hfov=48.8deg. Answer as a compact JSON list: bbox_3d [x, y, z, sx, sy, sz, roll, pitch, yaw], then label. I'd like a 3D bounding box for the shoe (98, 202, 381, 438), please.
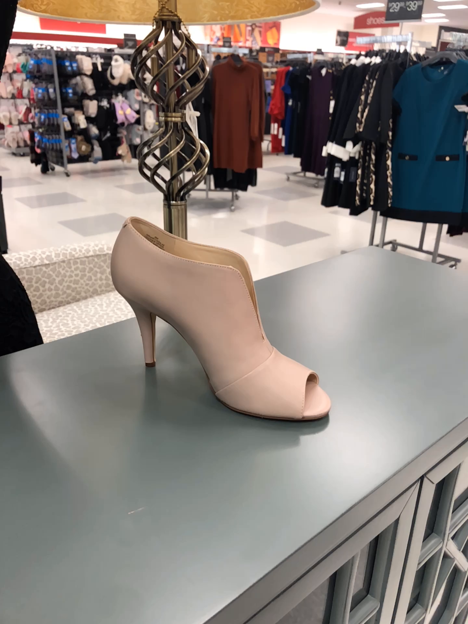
[{"bbox_3d":[0.003,-0.004,0.475,0.224,0.151,0.098,11,26,21],"label":"shoe"}]
